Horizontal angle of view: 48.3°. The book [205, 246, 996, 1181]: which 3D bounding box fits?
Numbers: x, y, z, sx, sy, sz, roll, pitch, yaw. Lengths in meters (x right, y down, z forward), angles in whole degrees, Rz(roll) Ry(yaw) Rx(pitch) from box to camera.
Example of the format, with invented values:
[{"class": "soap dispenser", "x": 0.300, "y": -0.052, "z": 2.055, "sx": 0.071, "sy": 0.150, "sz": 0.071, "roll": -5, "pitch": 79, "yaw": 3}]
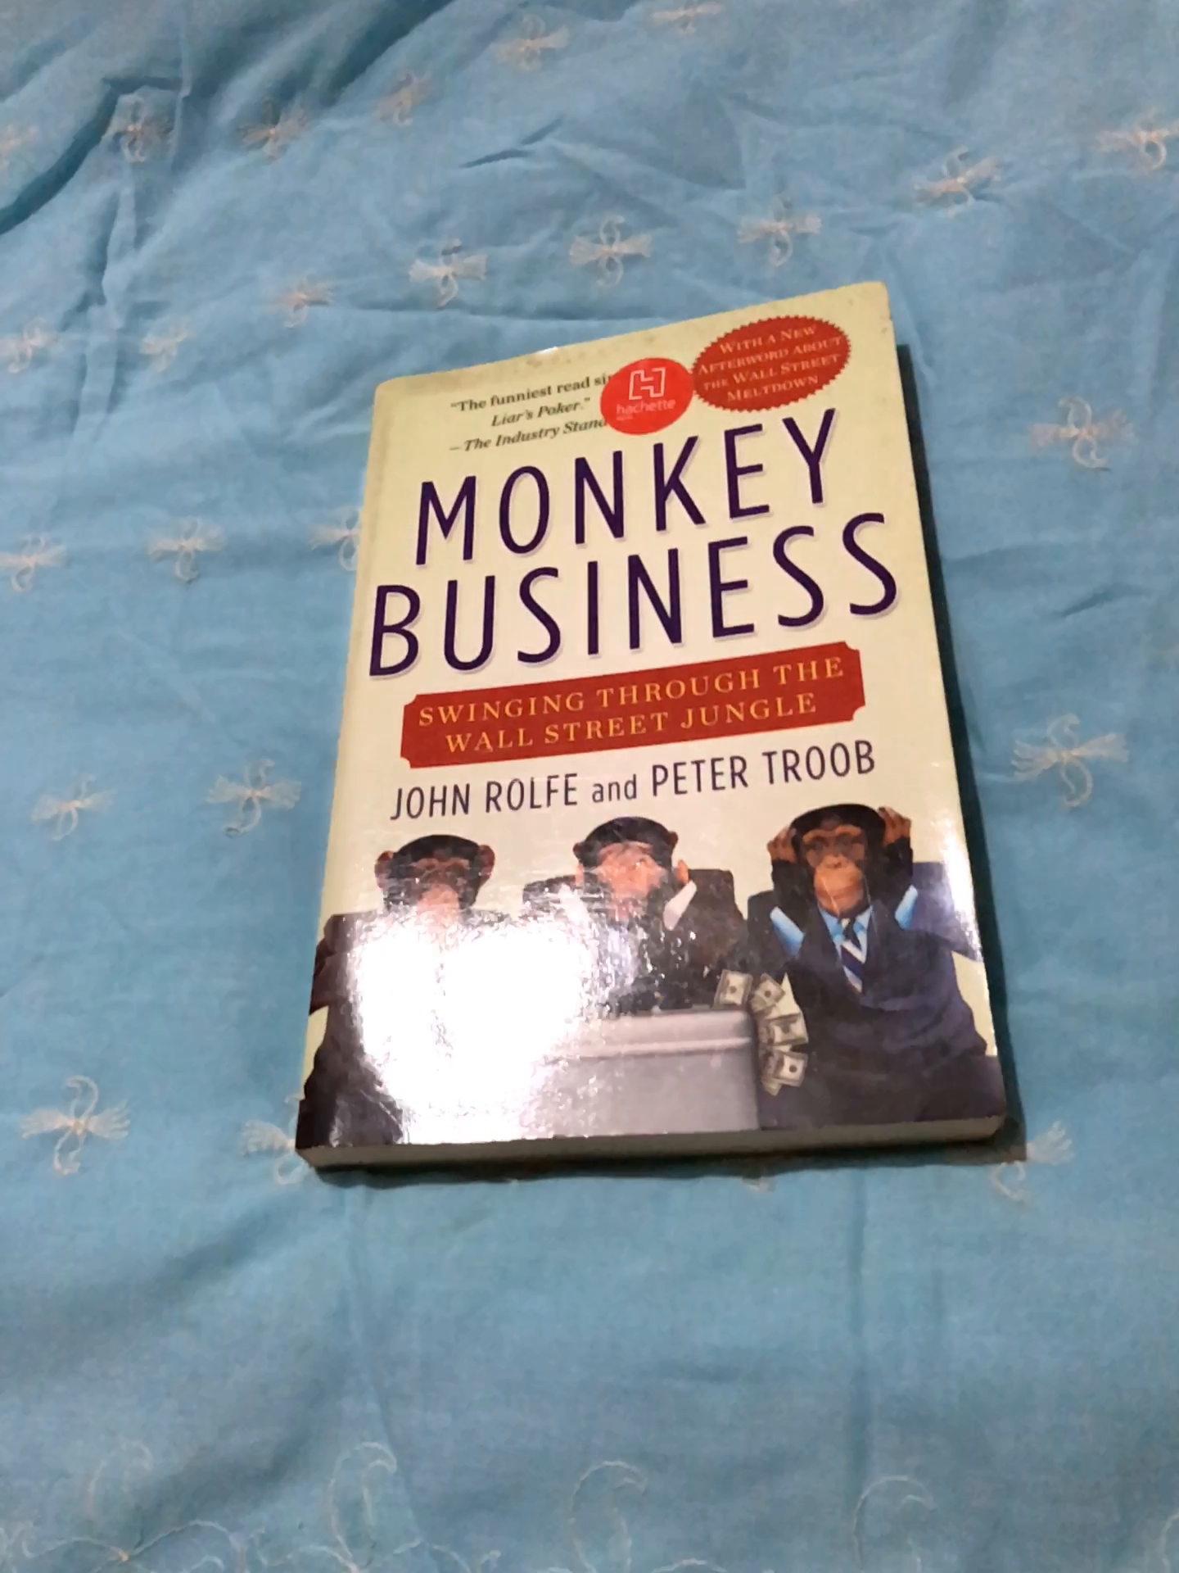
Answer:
[{"class": "book", "x": 0.002, "y": -0.026, "z": 0.347, "sx": 0.170, "sy": 0.040, "sz": 0.240, "roll": -6, "pitch": 62, "yaw": 12}]
